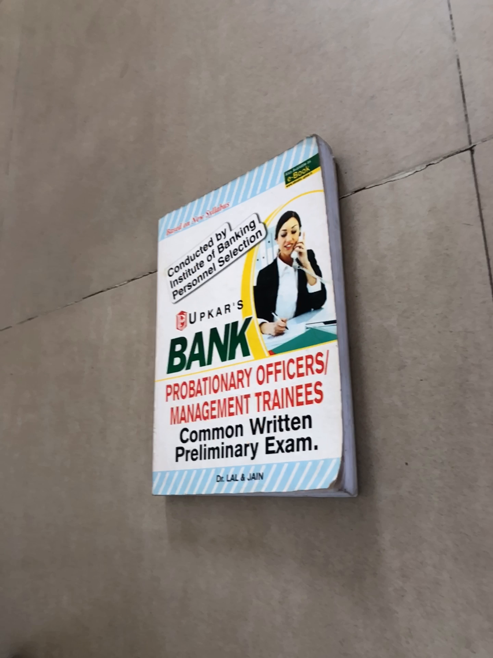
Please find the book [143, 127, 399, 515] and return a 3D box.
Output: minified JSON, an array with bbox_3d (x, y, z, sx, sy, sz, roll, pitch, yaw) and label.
[{"bbox_3d":[0.003,0.005,0.384,0.181,0.040,0.230,-13,72,38],"label":"book"}]
